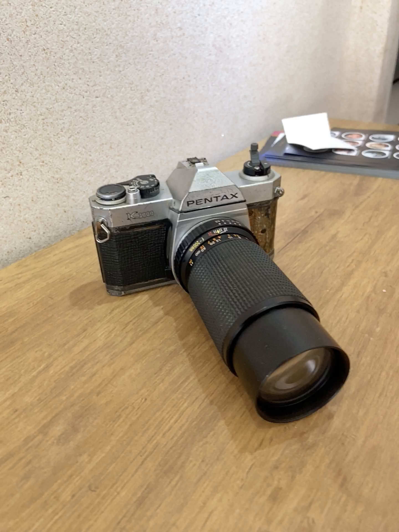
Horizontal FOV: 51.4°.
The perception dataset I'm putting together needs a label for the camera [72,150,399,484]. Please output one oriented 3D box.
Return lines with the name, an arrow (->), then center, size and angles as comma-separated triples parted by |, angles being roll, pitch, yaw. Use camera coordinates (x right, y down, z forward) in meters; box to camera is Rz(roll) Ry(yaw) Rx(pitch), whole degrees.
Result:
camera -> 0.015, 0.003, 0.258 | 0.150, 0.080, 0.181 | -14, 33, -16
